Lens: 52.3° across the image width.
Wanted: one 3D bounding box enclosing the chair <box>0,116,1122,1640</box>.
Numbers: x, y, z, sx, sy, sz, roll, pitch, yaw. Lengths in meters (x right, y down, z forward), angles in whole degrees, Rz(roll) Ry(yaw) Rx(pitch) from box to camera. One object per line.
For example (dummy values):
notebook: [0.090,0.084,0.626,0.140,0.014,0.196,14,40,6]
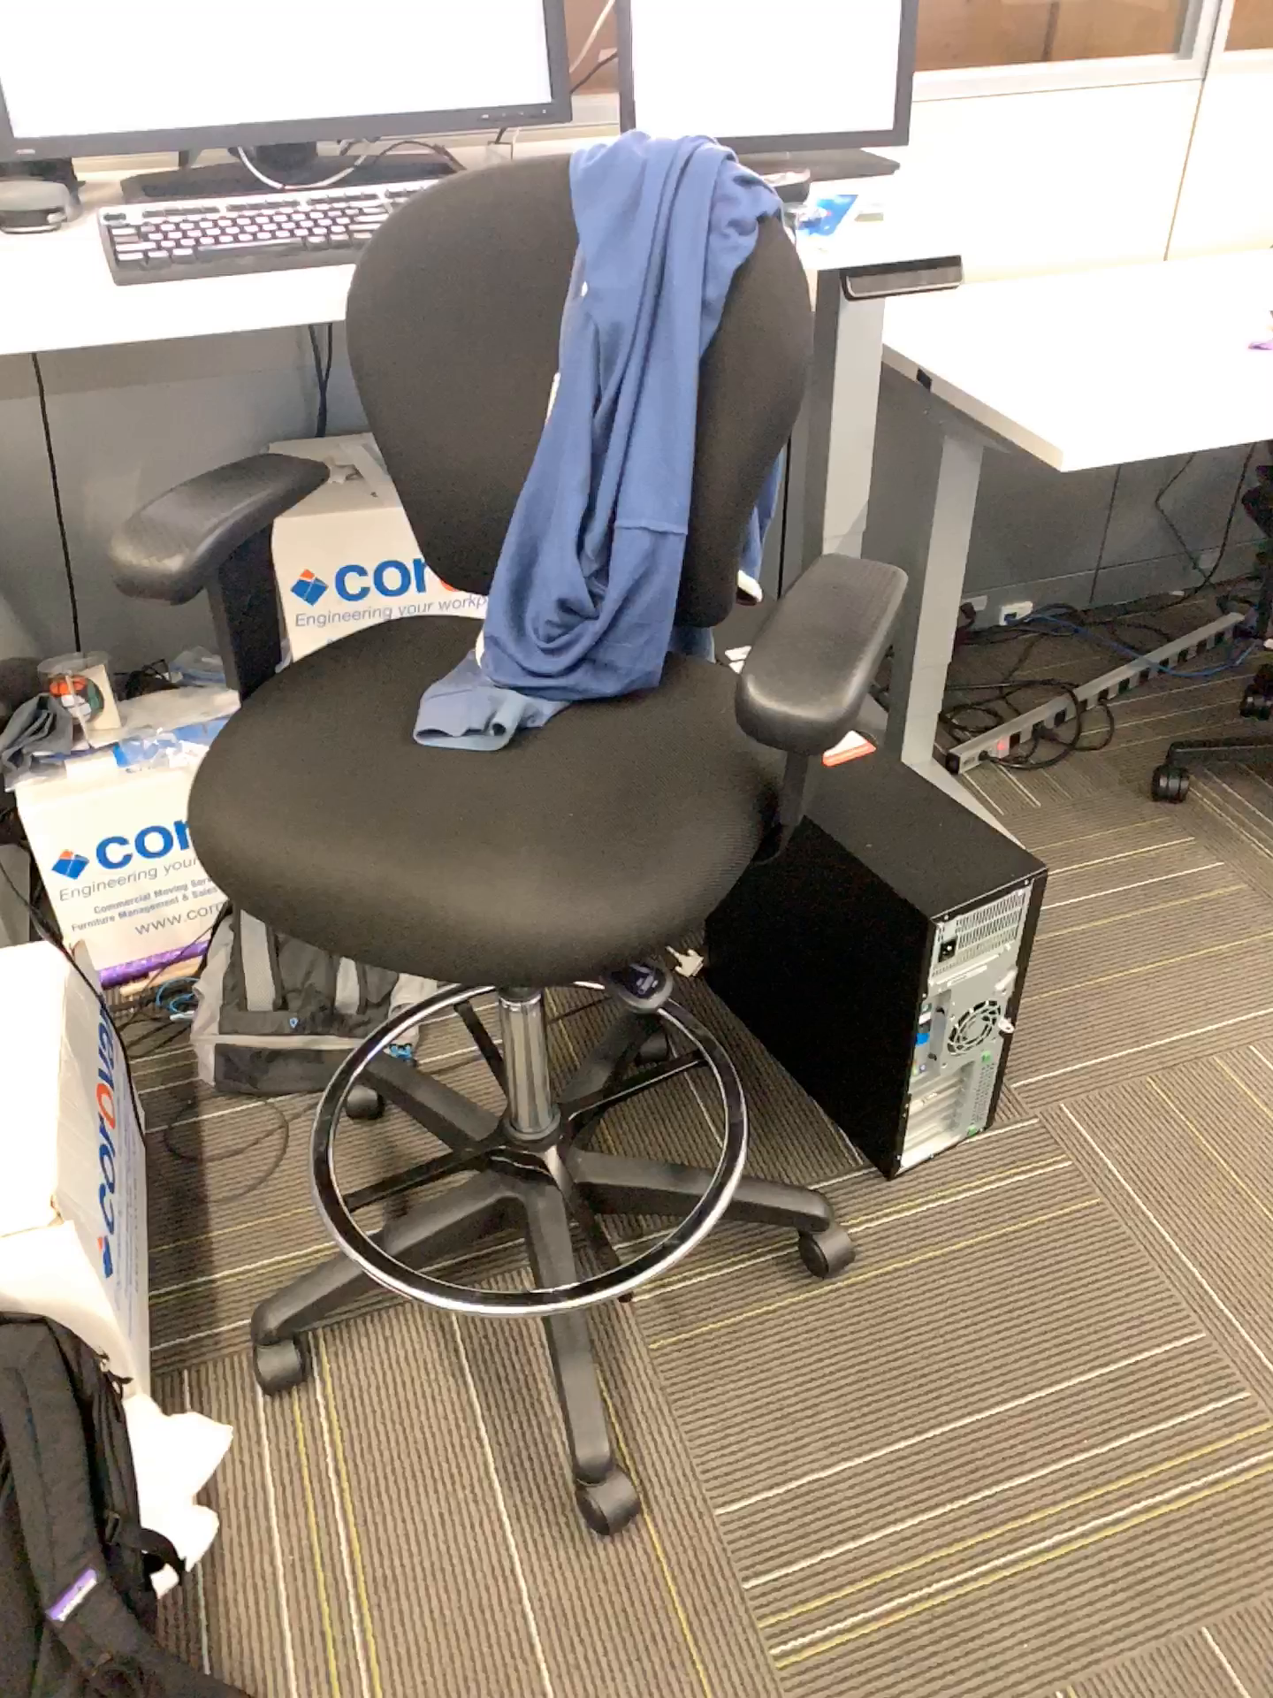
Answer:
chair: [-0.092,-0.038,1.287,0.742,1.063,0.843,17,40,21]
